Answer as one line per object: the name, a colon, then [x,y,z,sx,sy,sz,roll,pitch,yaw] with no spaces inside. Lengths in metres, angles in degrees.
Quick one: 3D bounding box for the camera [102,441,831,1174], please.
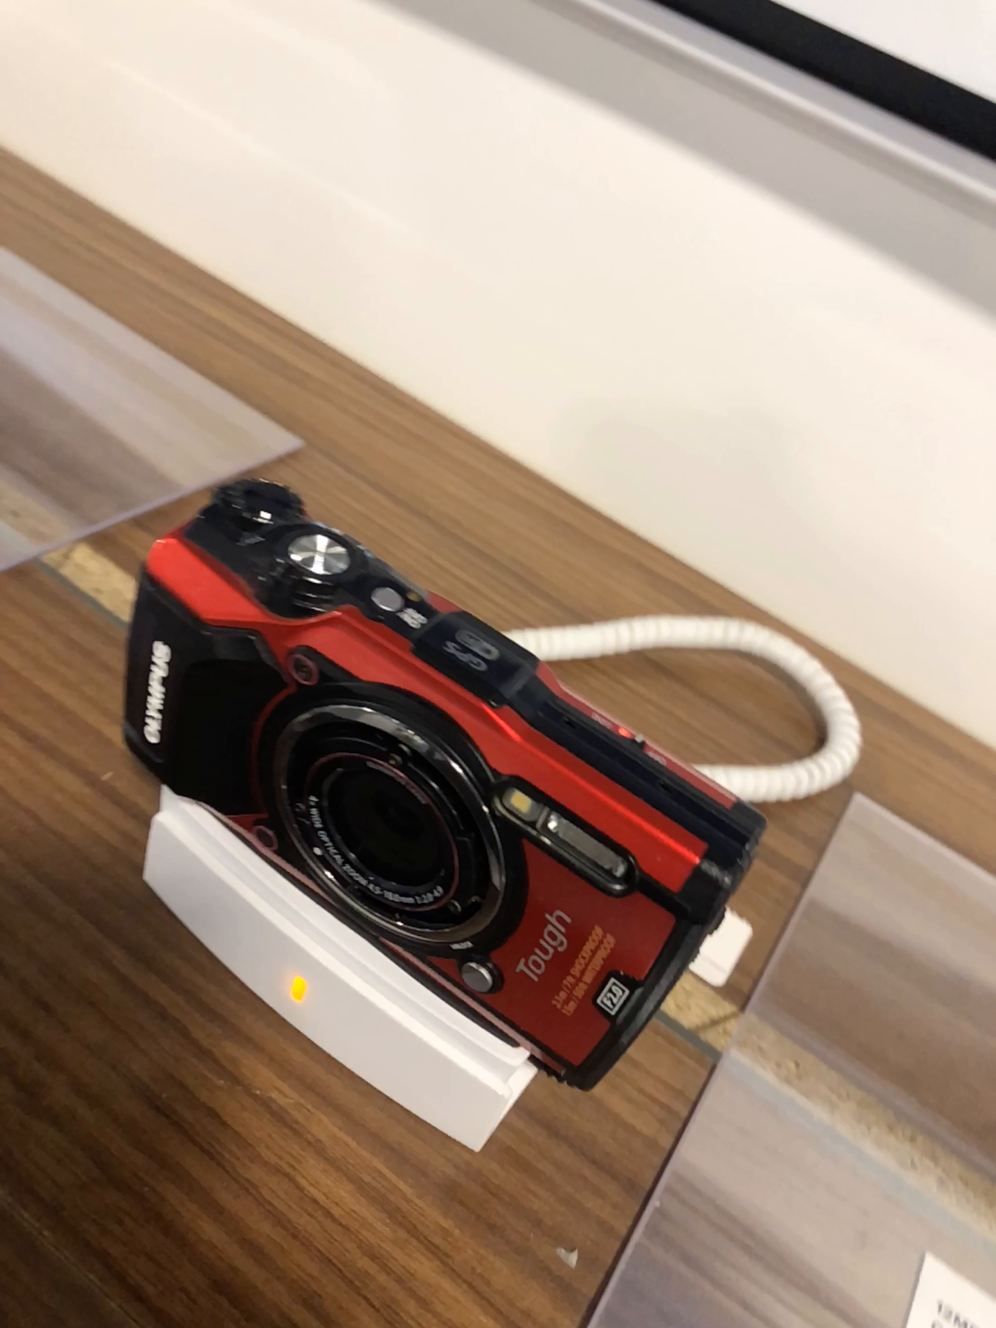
camera: [-0.014,0.023,0.199,0.120,0.070,0.030,35,39,16]
